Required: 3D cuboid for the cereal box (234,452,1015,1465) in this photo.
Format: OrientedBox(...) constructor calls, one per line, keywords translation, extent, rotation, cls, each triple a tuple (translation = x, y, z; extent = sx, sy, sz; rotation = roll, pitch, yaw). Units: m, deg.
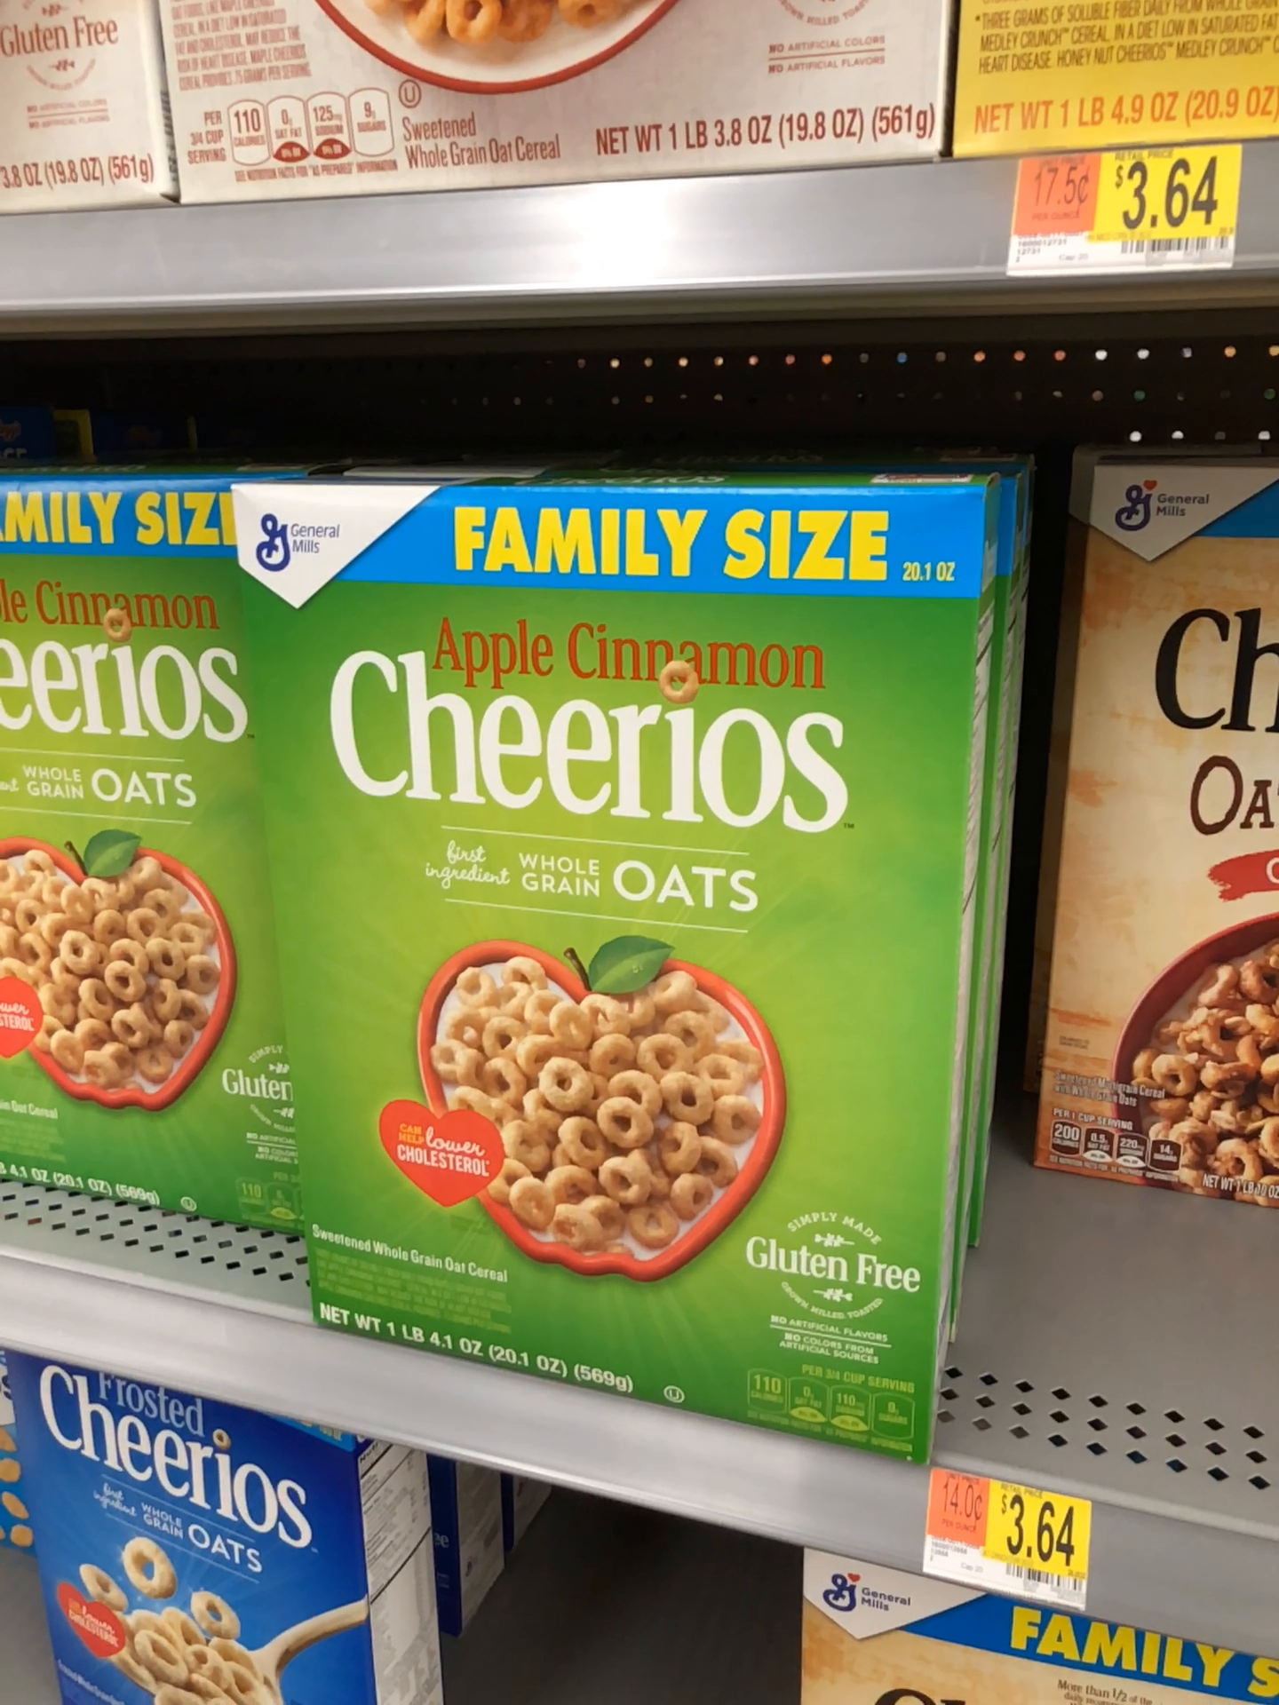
OrientedBox(translation=(-0.007, 0.028, 0.471), extent=(0.230, 0.309, 0.060), rotation=(6, 17, 19), cls="cereal box")
